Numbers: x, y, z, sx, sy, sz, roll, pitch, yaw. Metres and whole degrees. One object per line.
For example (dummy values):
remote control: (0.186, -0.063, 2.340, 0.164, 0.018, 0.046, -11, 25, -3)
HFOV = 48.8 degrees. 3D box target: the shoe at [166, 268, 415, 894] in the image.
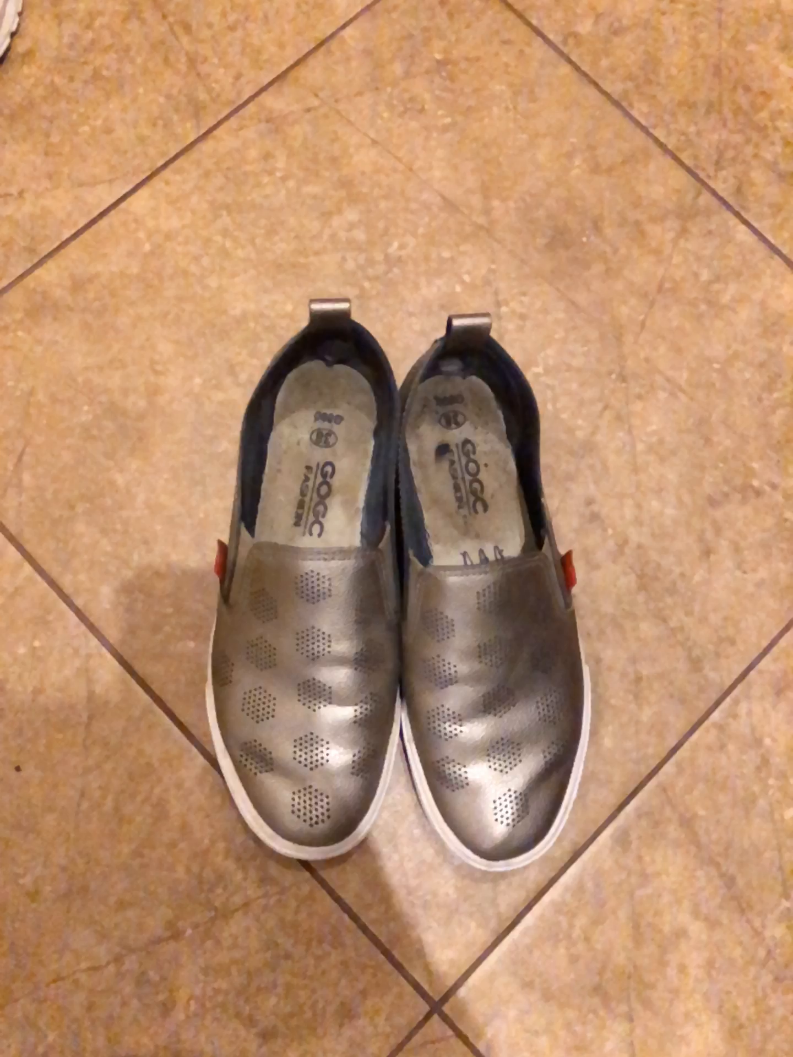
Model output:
shoe: (-0.041, 0.023, 0.398, 0.090, 0.100, 0.250, 1, 78, -3)

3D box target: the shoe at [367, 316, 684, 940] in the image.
shoe: (0.046, 0.041, 0.400, 0.100, 0.110, 0.240, -3, 79, -4)
